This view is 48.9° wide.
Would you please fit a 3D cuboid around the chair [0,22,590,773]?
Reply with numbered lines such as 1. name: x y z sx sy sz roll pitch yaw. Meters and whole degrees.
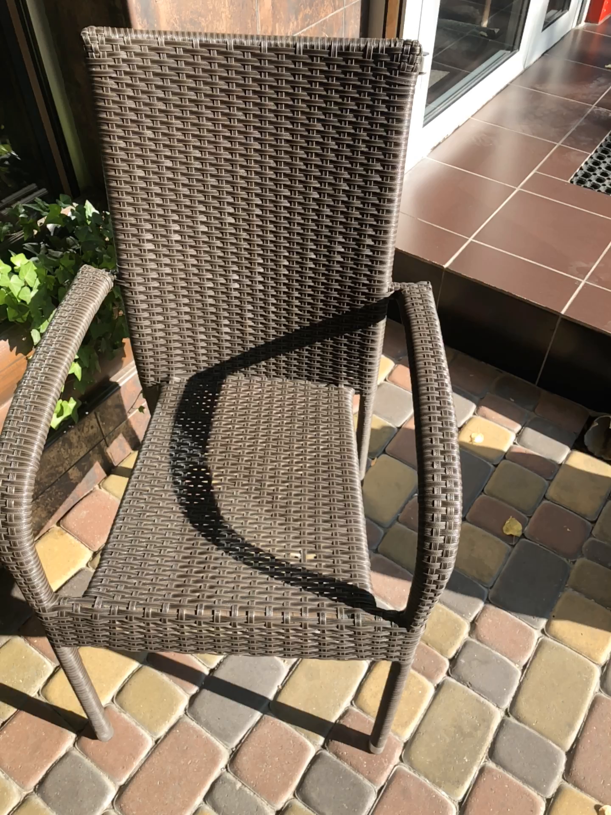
1. chair: -0.090 0.036 1.049 0.610 0.906 0.723 3 49 2
